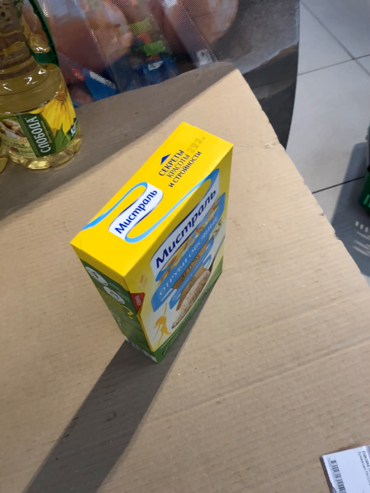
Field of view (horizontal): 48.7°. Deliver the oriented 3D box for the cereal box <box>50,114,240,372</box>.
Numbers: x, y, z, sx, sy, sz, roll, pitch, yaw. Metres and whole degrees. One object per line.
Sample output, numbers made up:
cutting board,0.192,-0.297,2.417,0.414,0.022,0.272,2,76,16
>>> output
cereal box,-0.017,0.015,0.373,0.050,0.209,0.150,31,67,19
